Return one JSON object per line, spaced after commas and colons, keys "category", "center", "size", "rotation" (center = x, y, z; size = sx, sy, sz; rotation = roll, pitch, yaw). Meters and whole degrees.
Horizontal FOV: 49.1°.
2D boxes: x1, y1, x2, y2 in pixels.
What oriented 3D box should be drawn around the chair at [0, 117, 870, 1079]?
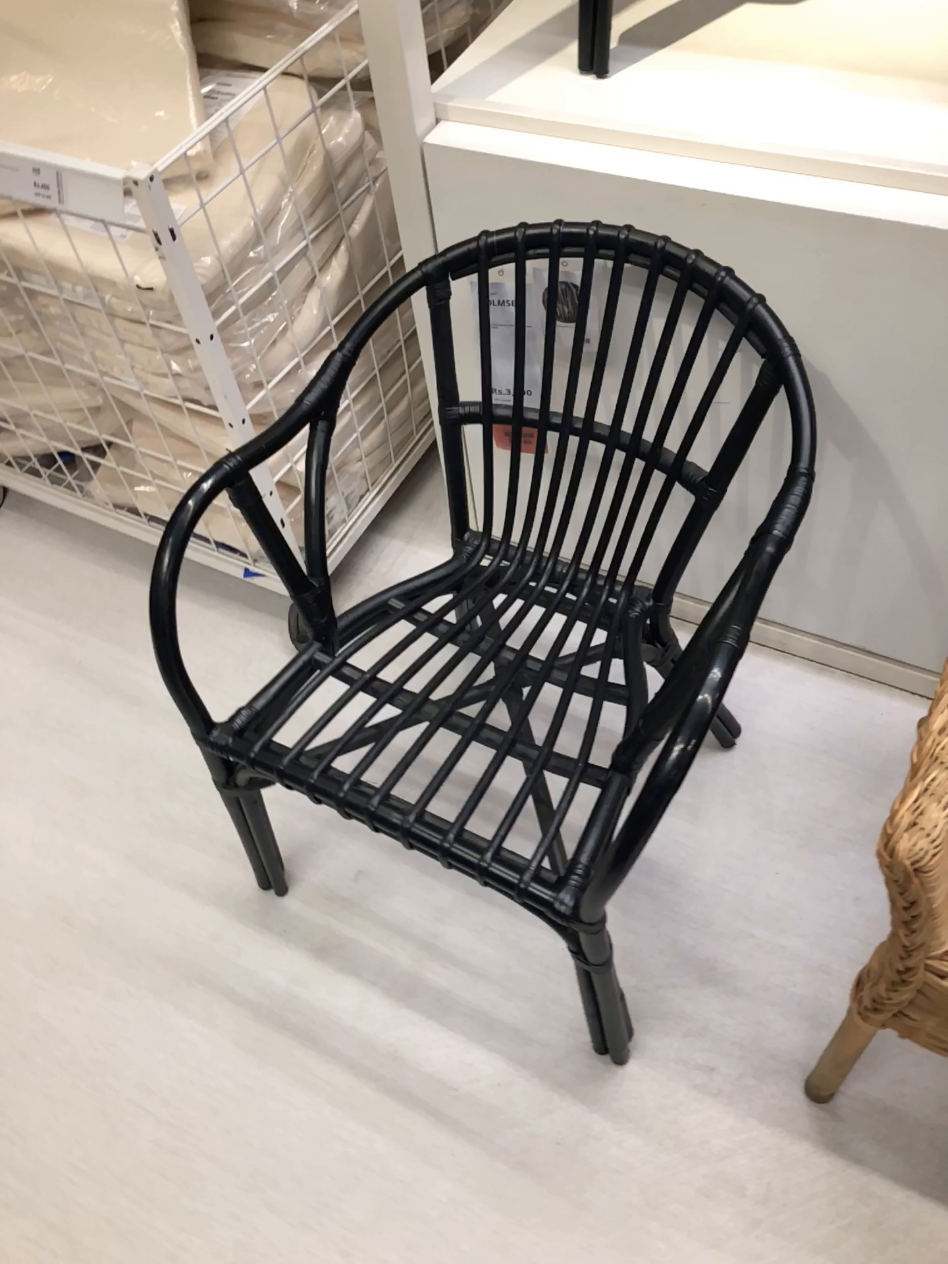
{"category": "chair", "center": [-0.014, 0.002, 1.060], "size": [0.551, 0.756, 0.472], "rotation": [20, 58, 22]}
